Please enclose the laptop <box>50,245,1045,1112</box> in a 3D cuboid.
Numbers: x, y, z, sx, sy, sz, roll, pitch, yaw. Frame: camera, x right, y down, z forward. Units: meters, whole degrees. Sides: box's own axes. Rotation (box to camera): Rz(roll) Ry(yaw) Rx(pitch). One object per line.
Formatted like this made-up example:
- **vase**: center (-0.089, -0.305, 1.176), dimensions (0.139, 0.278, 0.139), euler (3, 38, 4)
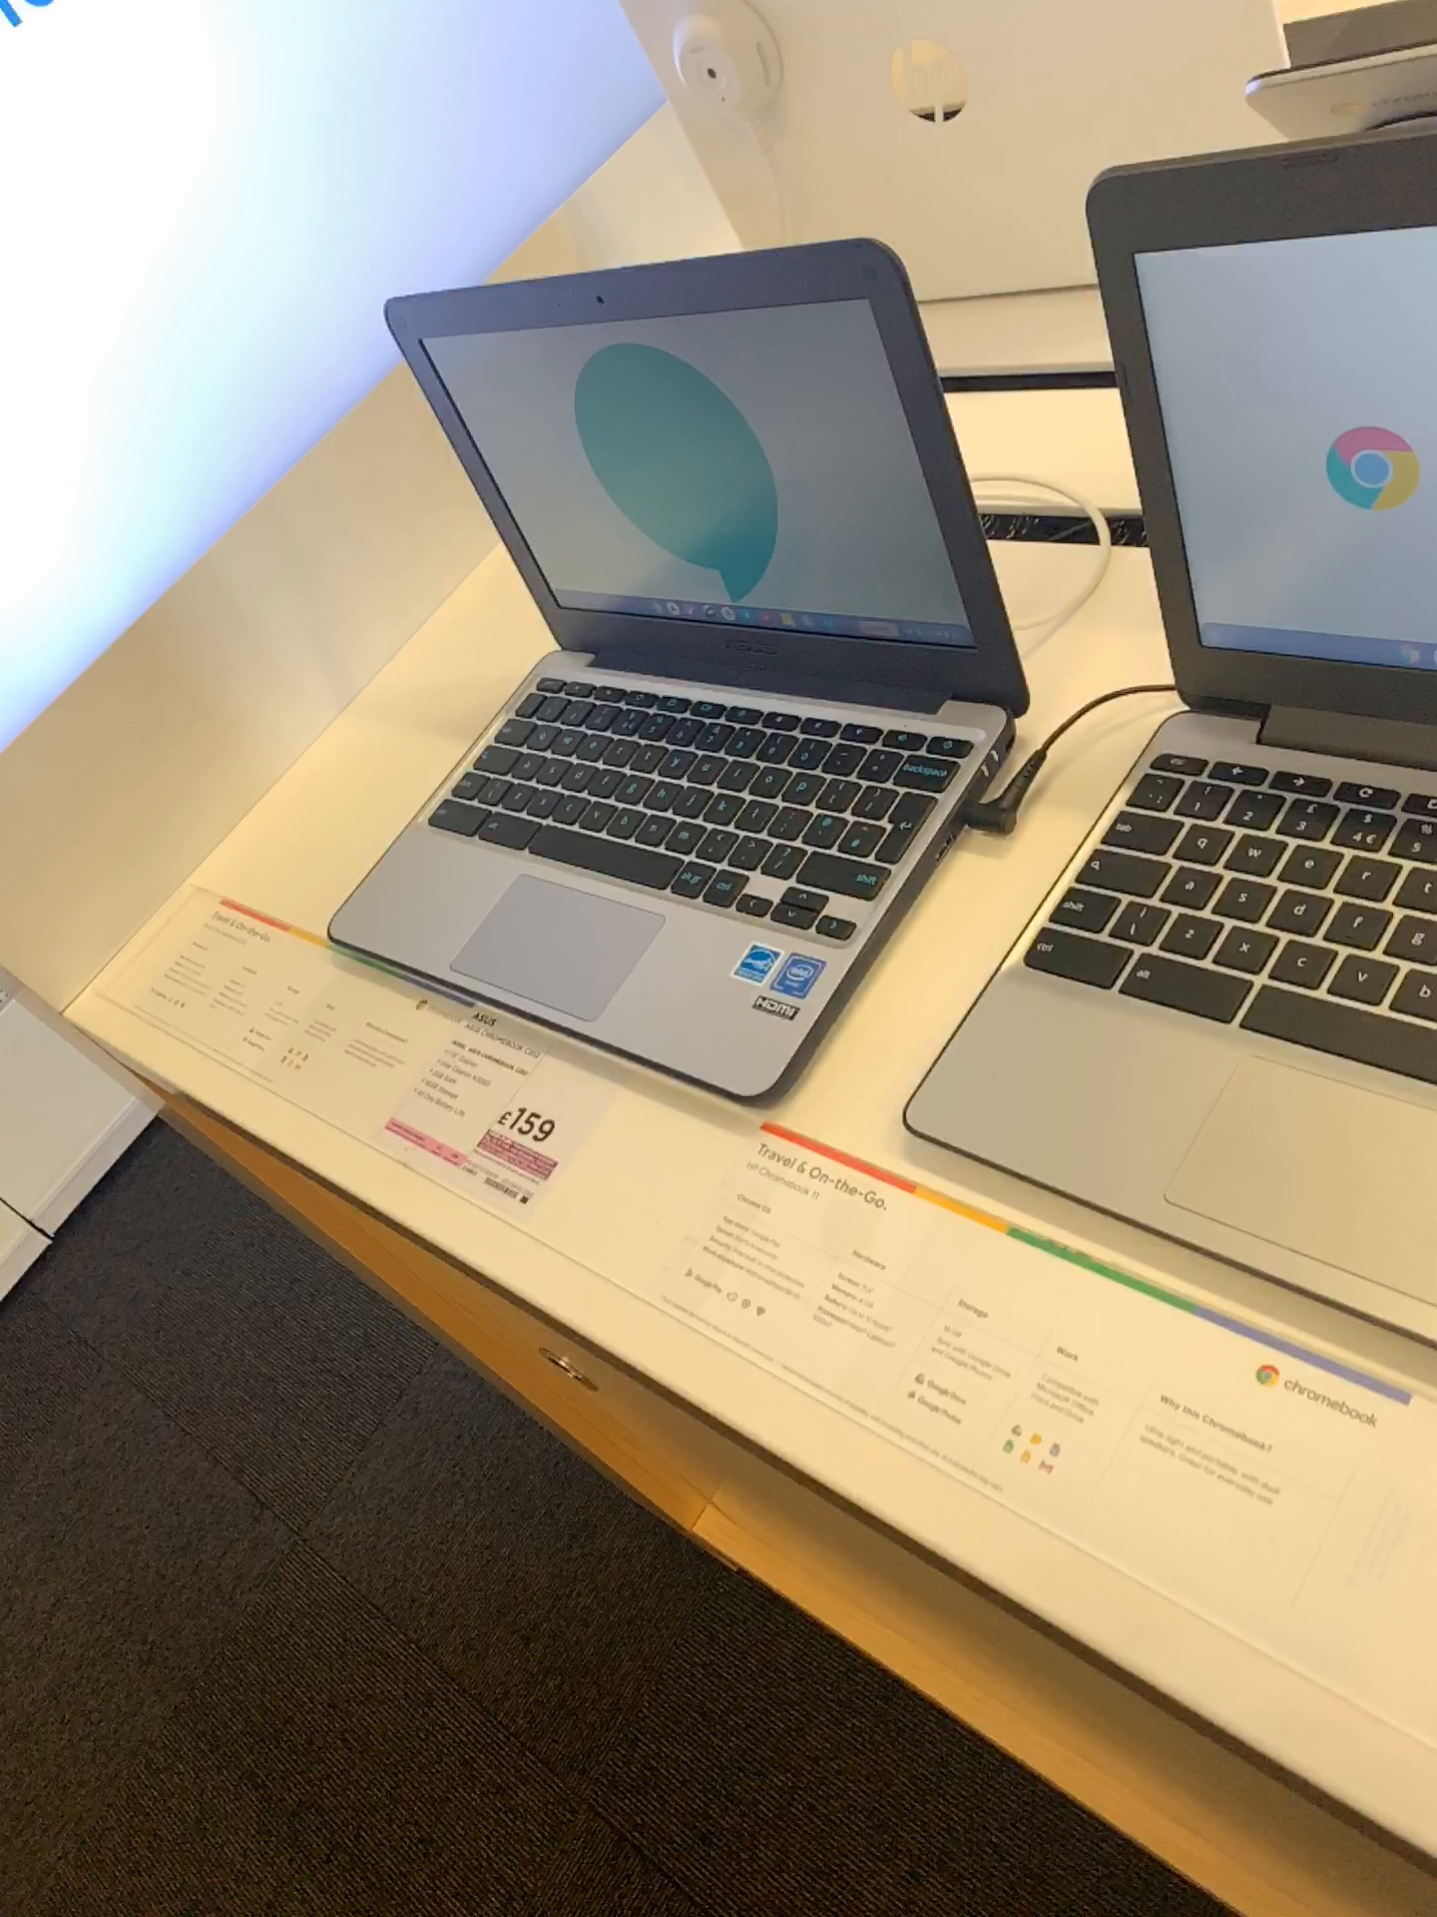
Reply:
- **laptop**: center (-0.066, -0.120, 0.583), dimensions (0.281, 0.183, 0.216), euler (18, 63, 42)
